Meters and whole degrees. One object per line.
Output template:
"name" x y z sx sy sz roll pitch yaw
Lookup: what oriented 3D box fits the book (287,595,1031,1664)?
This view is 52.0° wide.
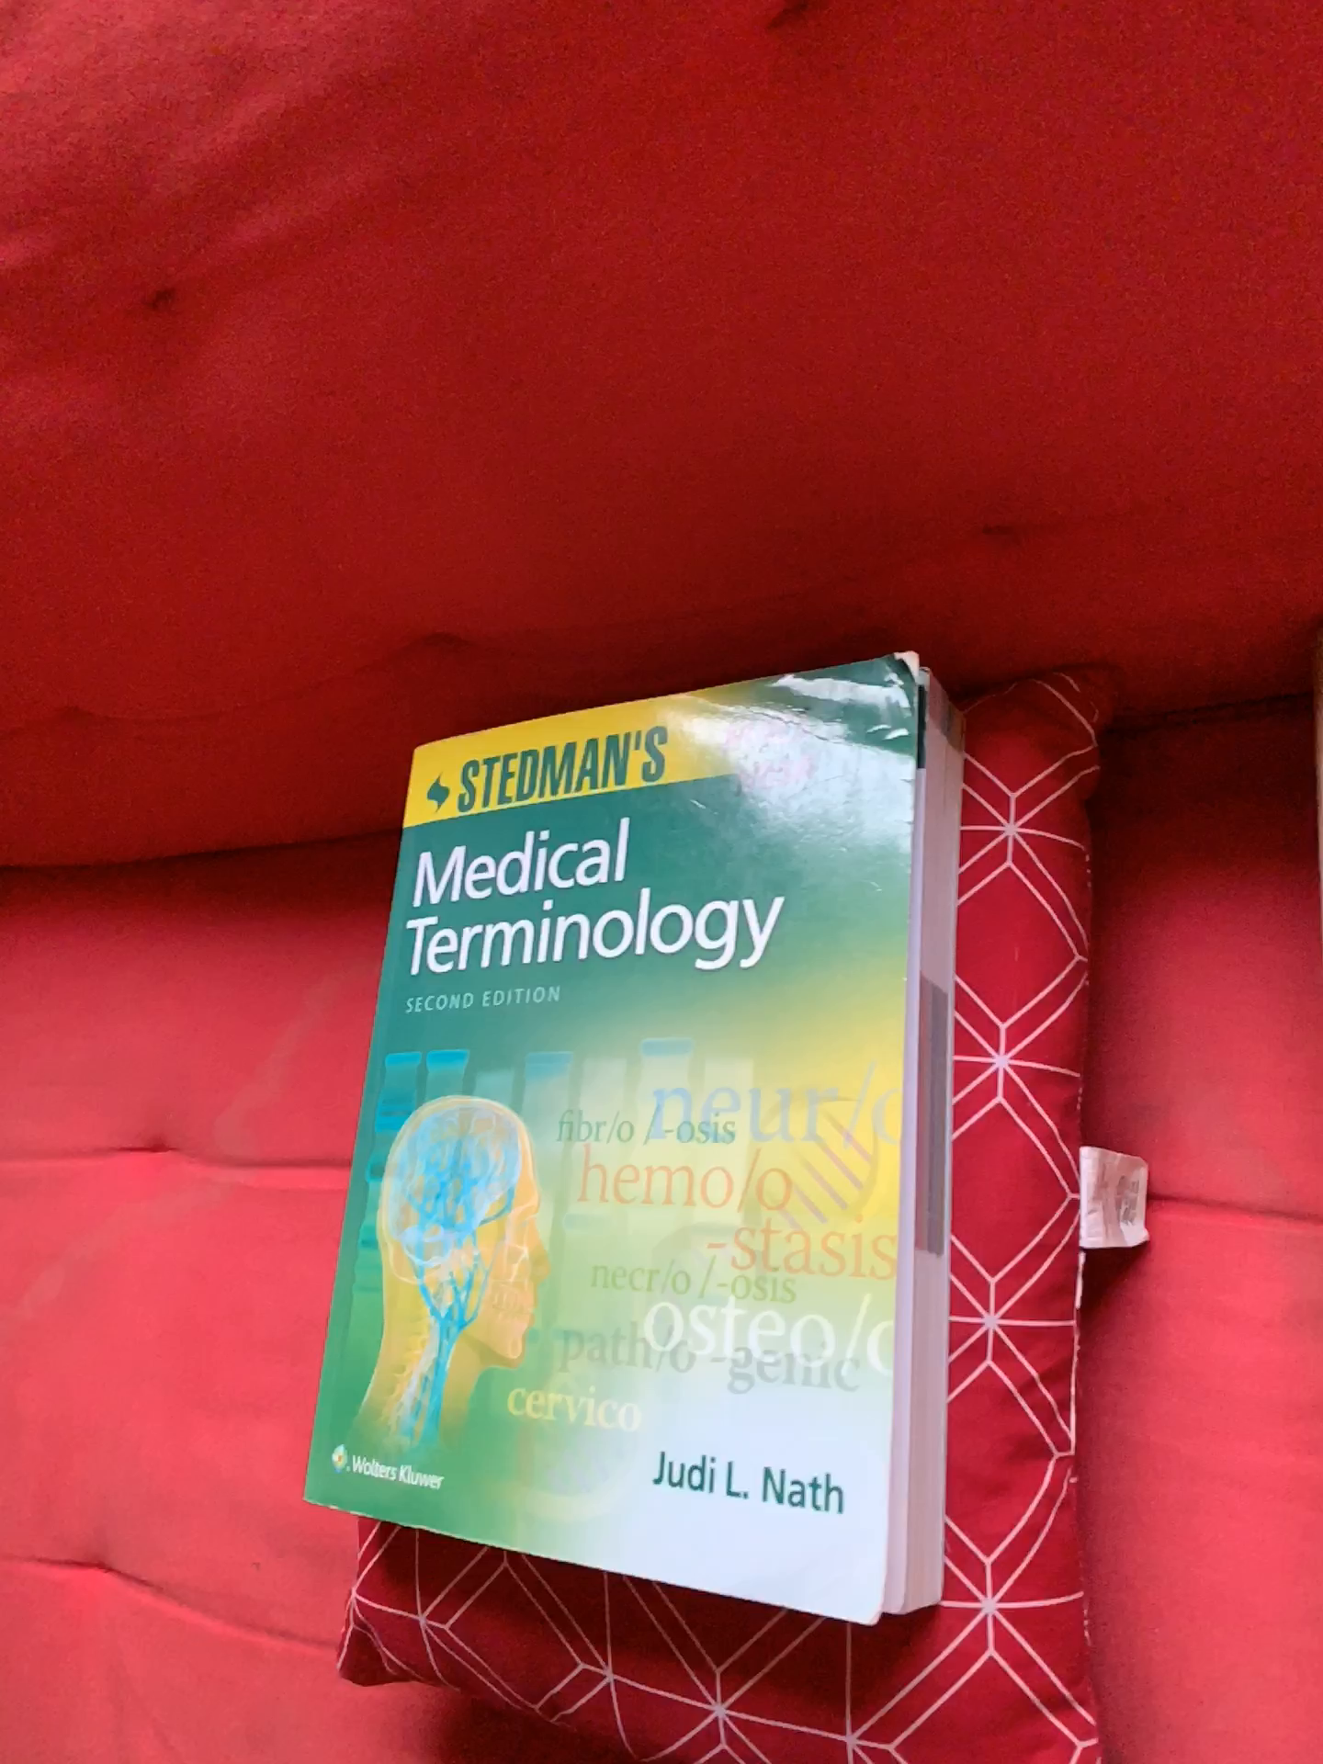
"book" -0.001 0.068 0.459 0.241 0.040 0.300 -5 71 29
